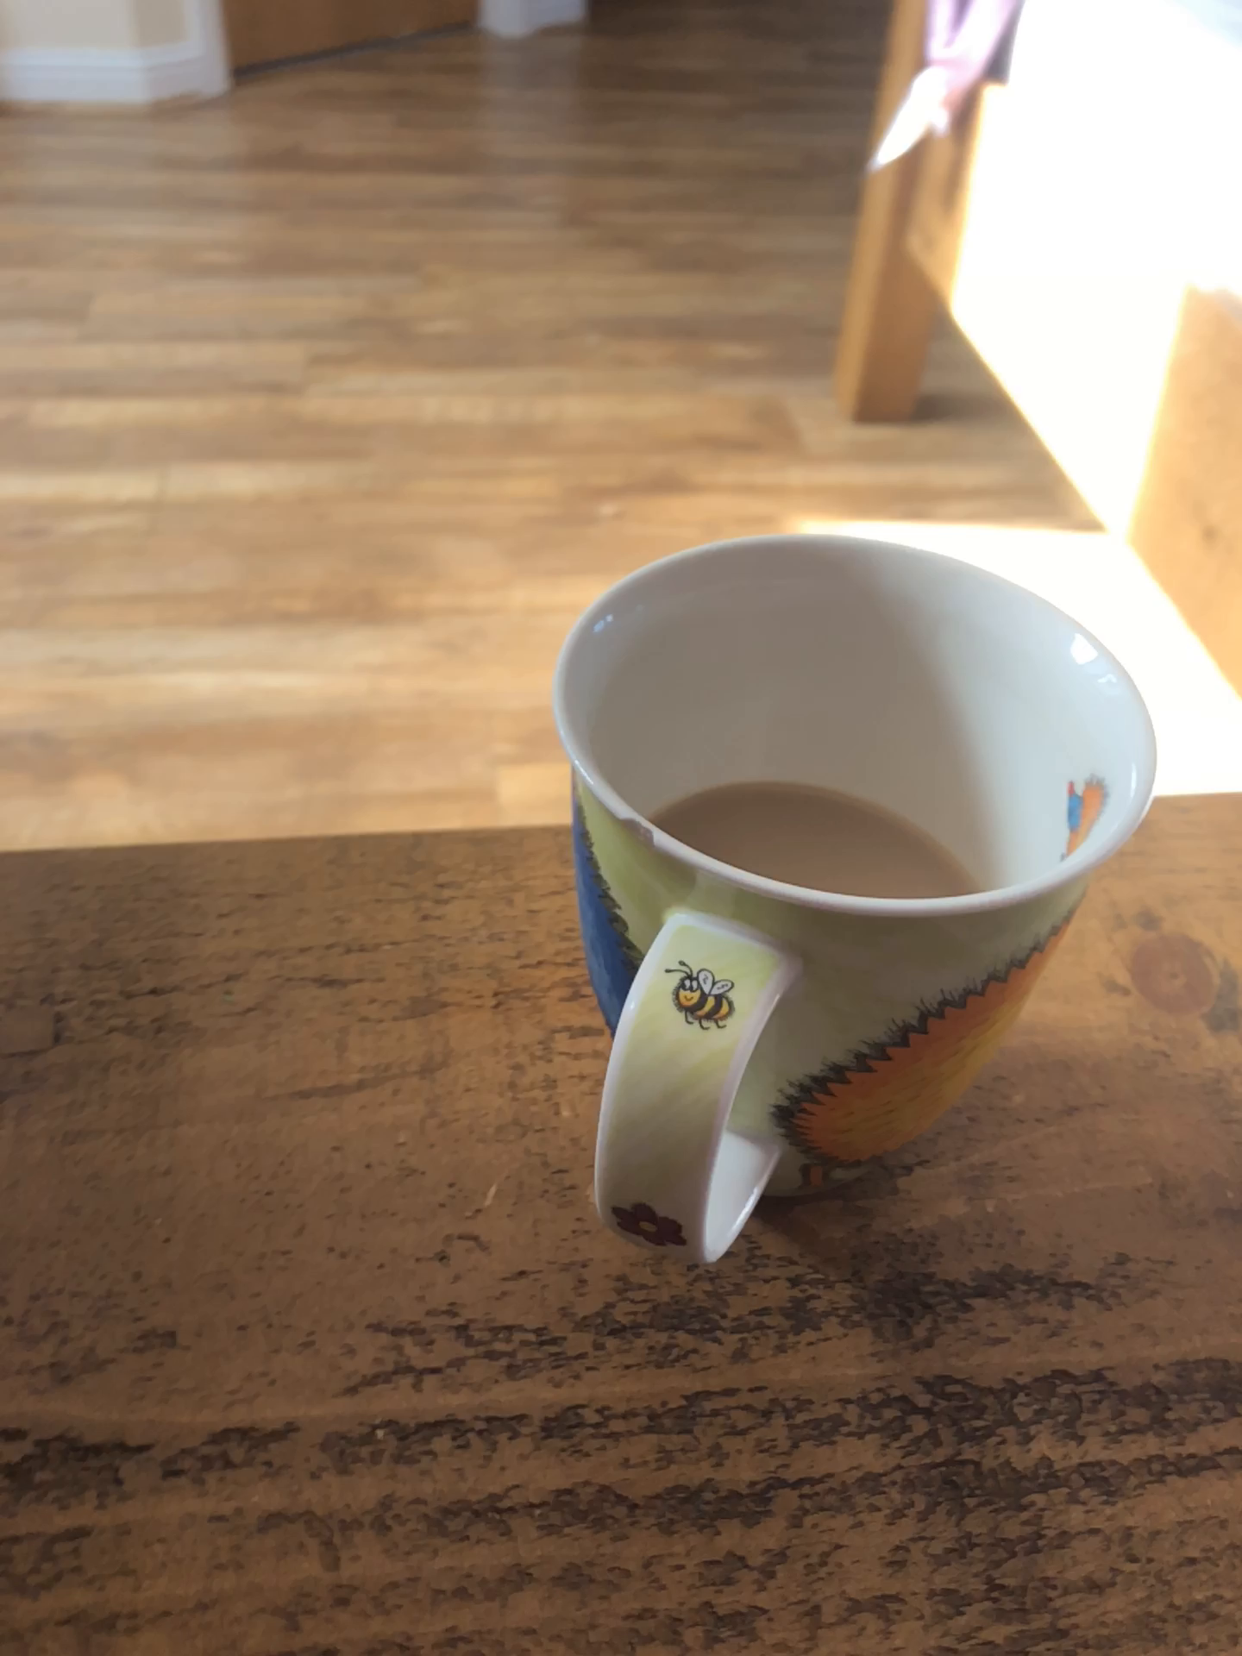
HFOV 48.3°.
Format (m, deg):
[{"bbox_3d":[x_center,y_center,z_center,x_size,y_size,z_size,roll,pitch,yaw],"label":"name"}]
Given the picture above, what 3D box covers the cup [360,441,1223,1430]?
[{"bbox_3d":[0.035,0.010,0.253,0.107,0.089,0.128,18,45,14],"label":"cup"}]
